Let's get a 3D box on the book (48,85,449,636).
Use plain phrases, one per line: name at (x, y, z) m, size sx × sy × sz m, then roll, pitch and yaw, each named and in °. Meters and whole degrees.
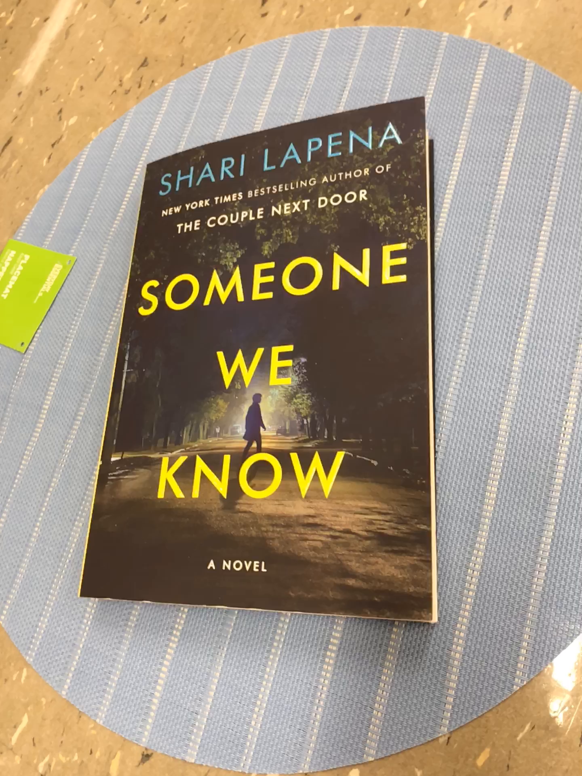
book at (-0.016, -0.015, 0.291) m, size 0.161 × 0.030 × 0.225 m, roll -4°, pitch 70°, yaw 22°
